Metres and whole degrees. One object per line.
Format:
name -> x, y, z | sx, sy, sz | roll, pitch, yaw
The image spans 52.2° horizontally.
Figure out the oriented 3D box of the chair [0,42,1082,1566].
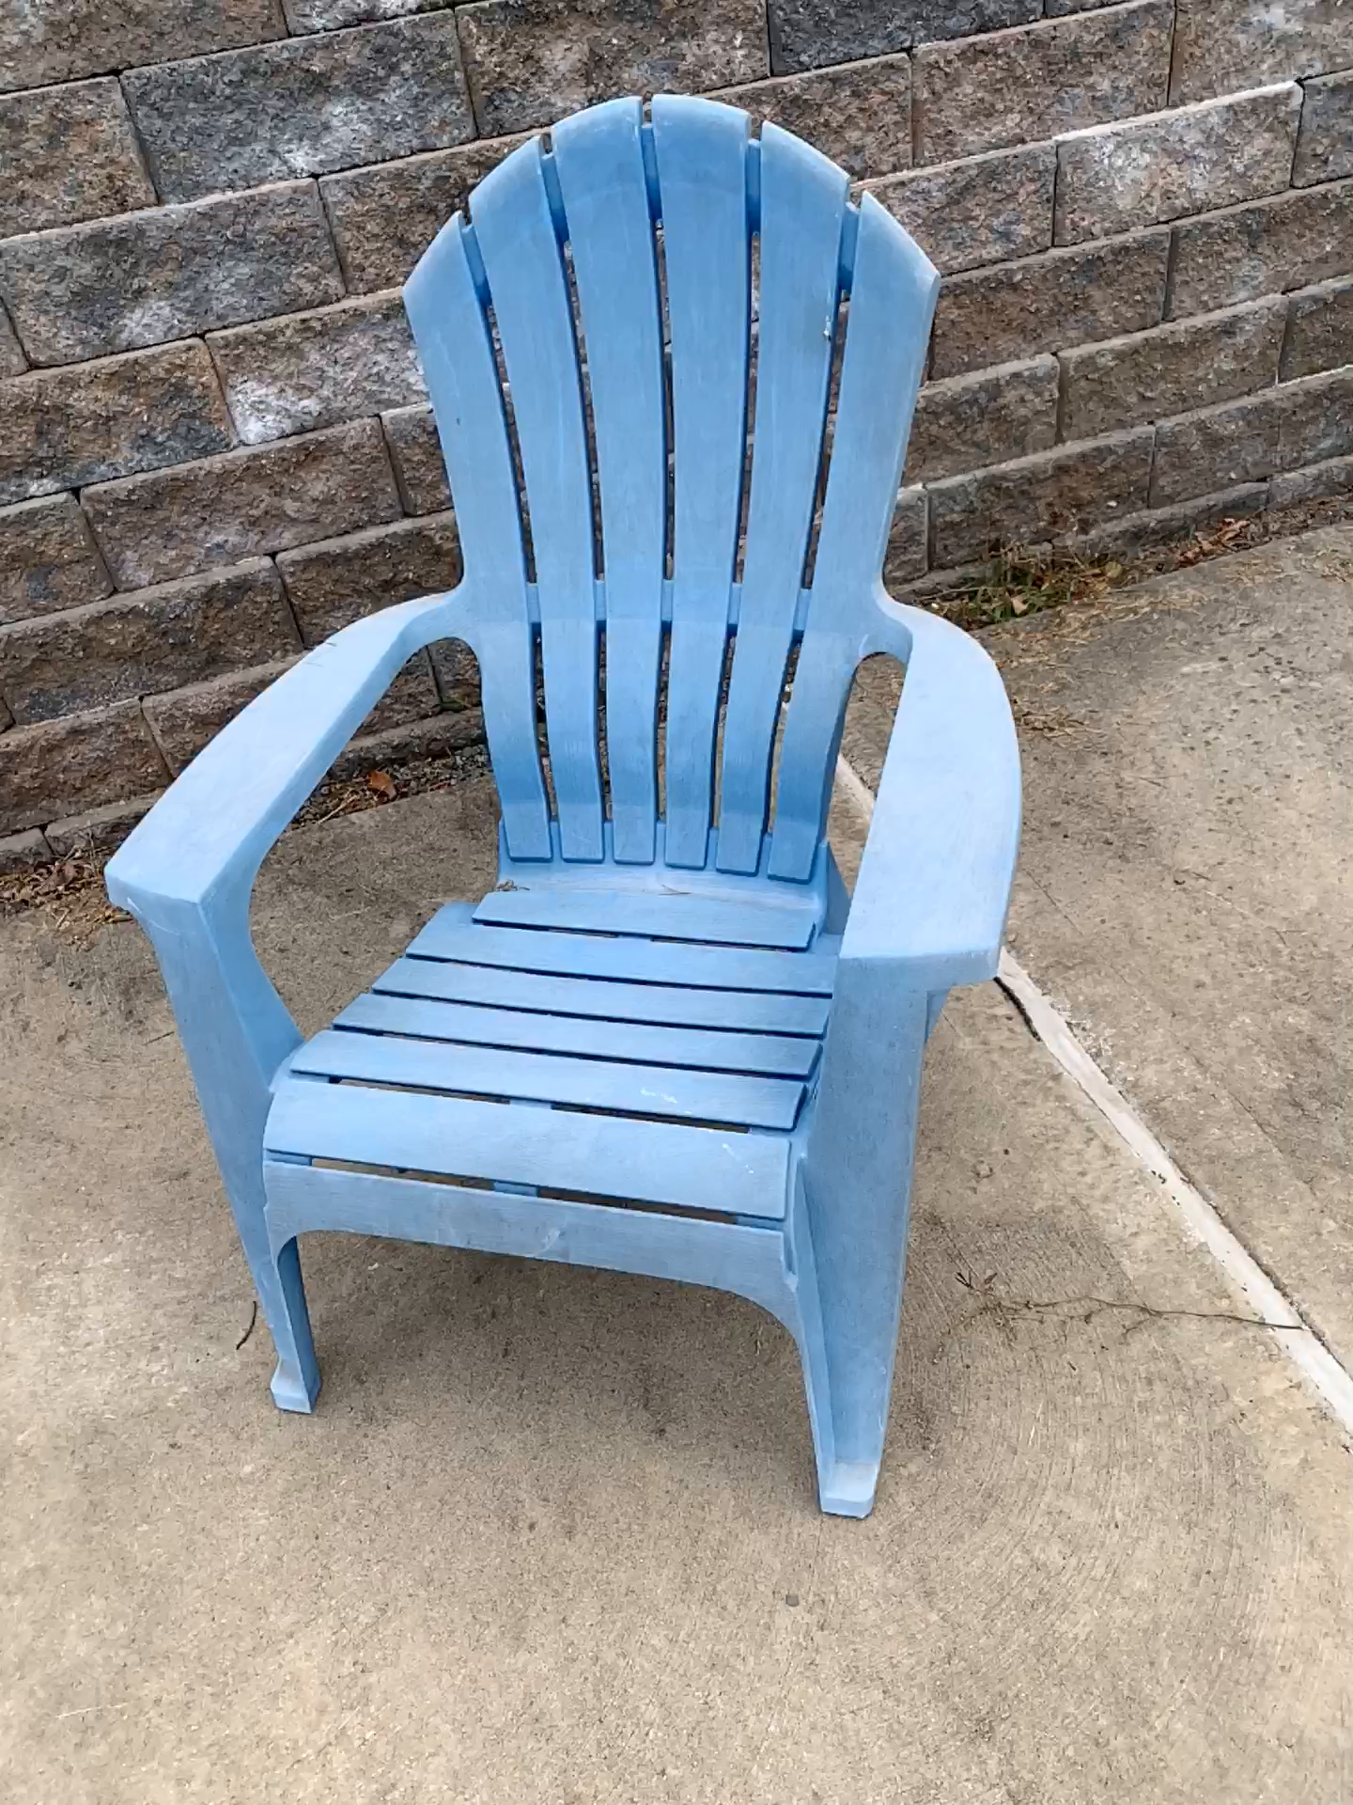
chair -> -0.084, -0.092, 1.151 | 0.701, 0.886, 0.763 | 6, 44, 15
